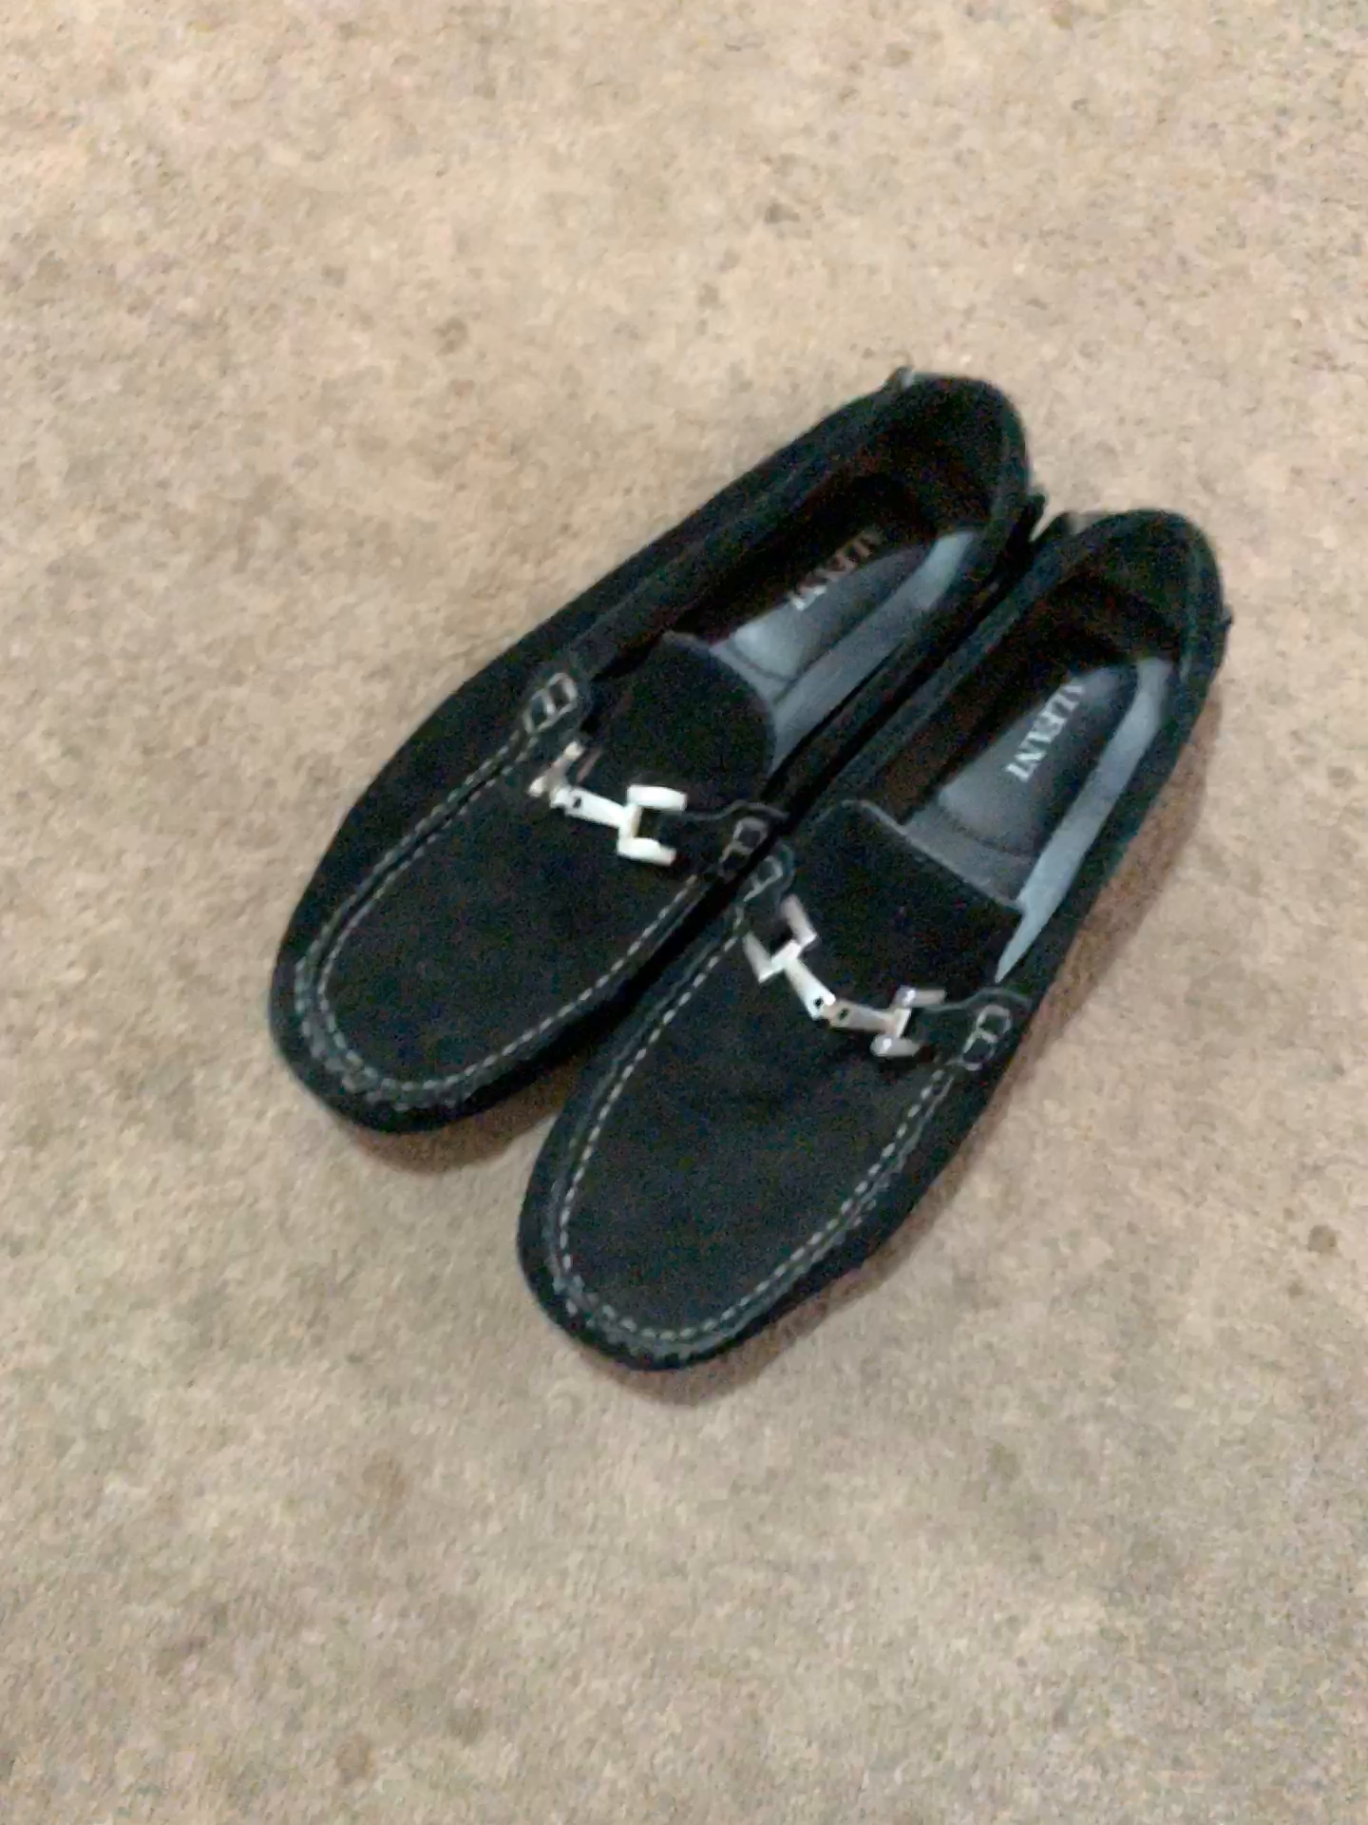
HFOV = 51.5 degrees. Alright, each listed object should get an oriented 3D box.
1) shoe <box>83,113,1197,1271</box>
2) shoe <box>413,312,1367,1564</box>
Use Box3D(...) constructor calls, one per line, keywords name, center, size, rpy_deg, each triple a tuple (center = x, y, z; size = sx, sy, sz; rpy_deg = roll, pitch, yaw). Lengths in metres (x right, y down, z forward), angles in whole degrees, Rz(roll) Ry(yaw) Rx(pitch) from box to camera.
Box3D(name="shoe", center=(-0.002, -0.057, 0.388), size=(0.100, 0.100, 0.301), rpy_deg=(38, 78, 6))
Box3D(name="shoe", center=(0.065, 0.001, 0.385), size=(0.100, 0.100, 0.301), rpy_deg=(34, 77, 5))
